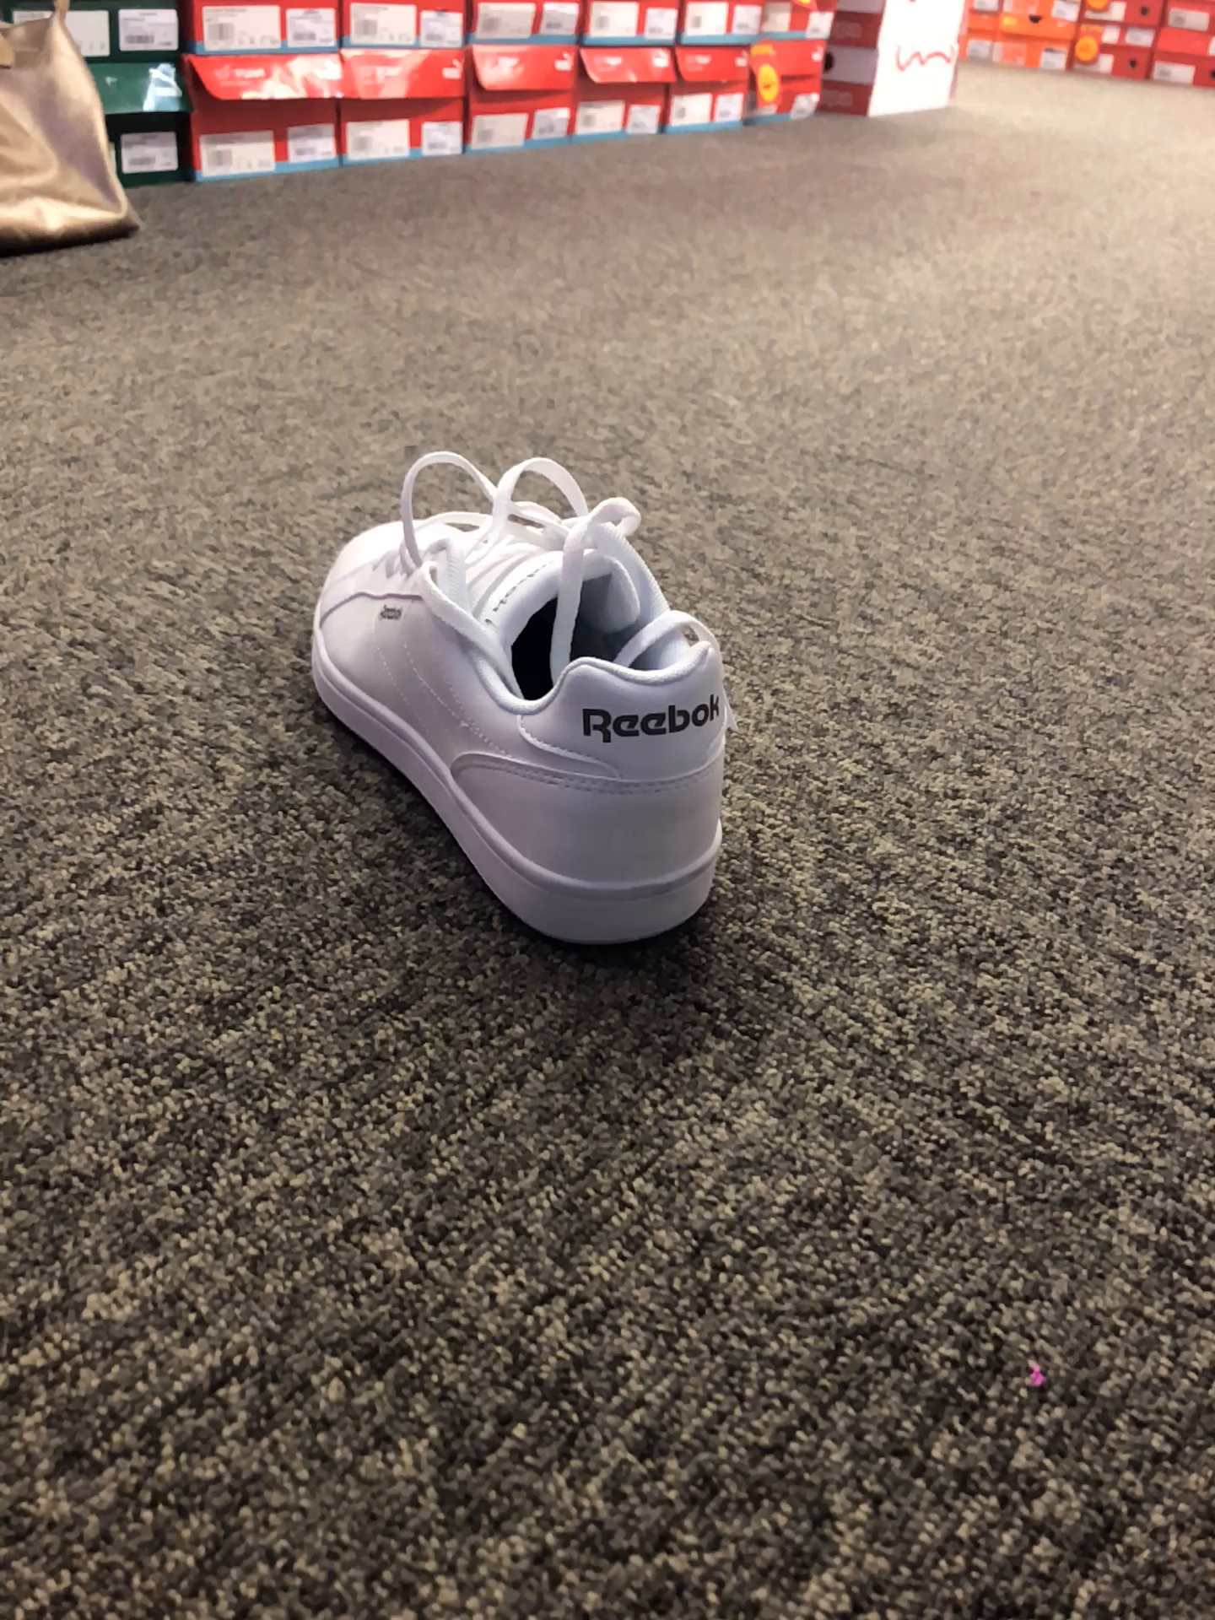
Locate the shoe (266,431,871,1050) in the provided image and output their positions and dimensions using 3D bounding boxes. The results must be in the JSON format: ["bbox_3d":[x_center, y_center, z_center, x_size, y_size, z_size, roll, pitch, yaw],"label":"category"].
[{"bbox_3d":[-0.033,-0.047,0.448,0.100,0.099,0.261,-11,30,-22],"label":"shoe"}]
